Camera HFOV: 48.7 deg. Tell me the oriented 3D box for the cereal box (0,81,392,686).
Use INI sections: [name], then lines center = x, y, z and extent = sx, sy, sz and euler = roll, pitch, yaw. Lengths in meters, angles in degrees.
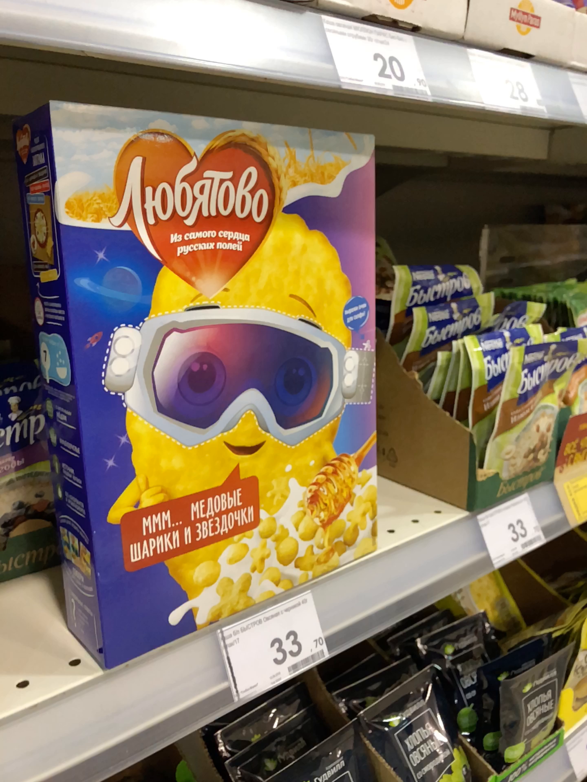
[cereal box]
center = -0.034, -0.011, 0.352
extent = 0.201, 0.259, 0.050
euler = -11, 15, -38
